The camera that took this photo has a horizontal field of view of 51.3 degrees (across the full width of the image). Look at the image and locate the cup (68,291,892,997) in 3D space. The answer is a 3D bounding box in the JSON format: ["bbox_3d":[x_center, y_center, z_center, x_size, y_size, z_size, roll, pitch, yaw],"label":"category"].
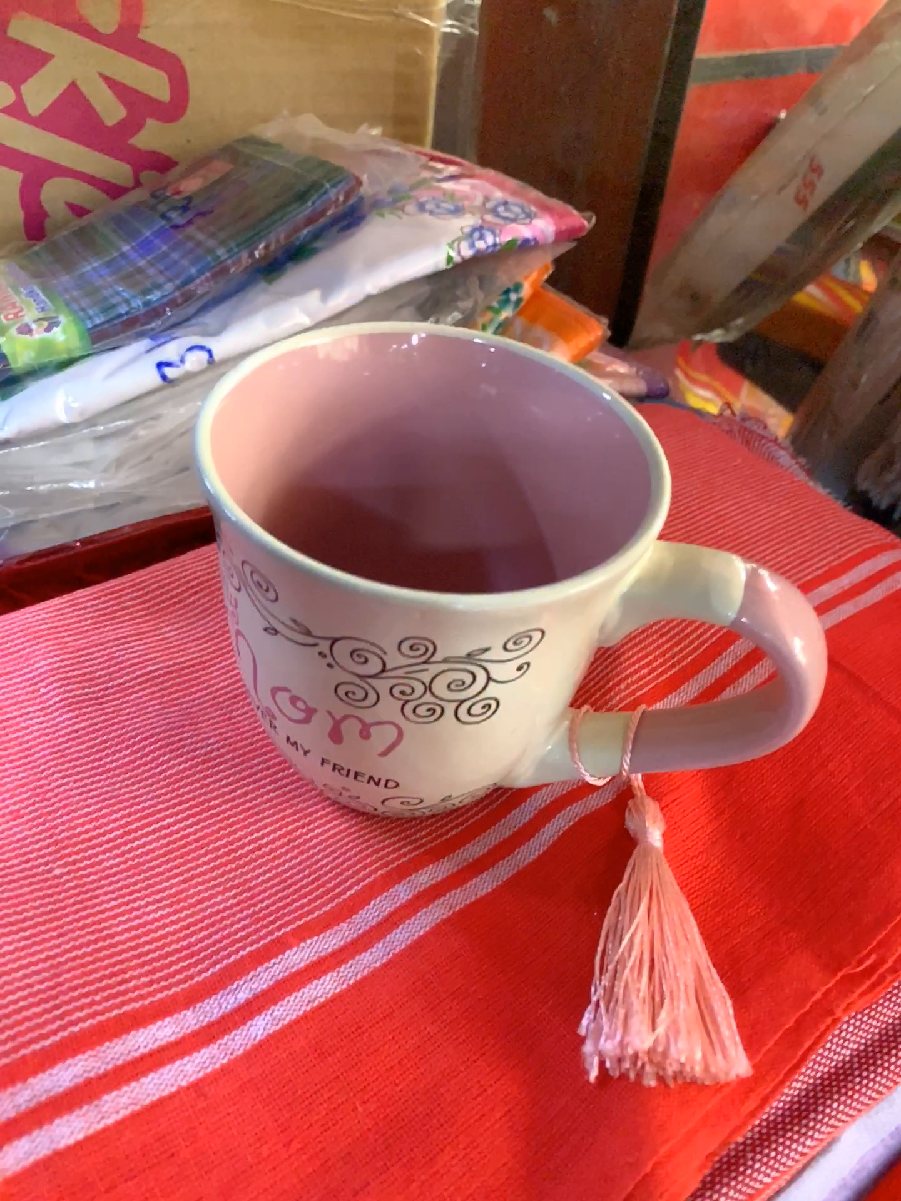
[{"bbox_3d":[0.010,0.002,0.202,0.130,0.080,0.094,15,43,10],"label":"cup"}]
